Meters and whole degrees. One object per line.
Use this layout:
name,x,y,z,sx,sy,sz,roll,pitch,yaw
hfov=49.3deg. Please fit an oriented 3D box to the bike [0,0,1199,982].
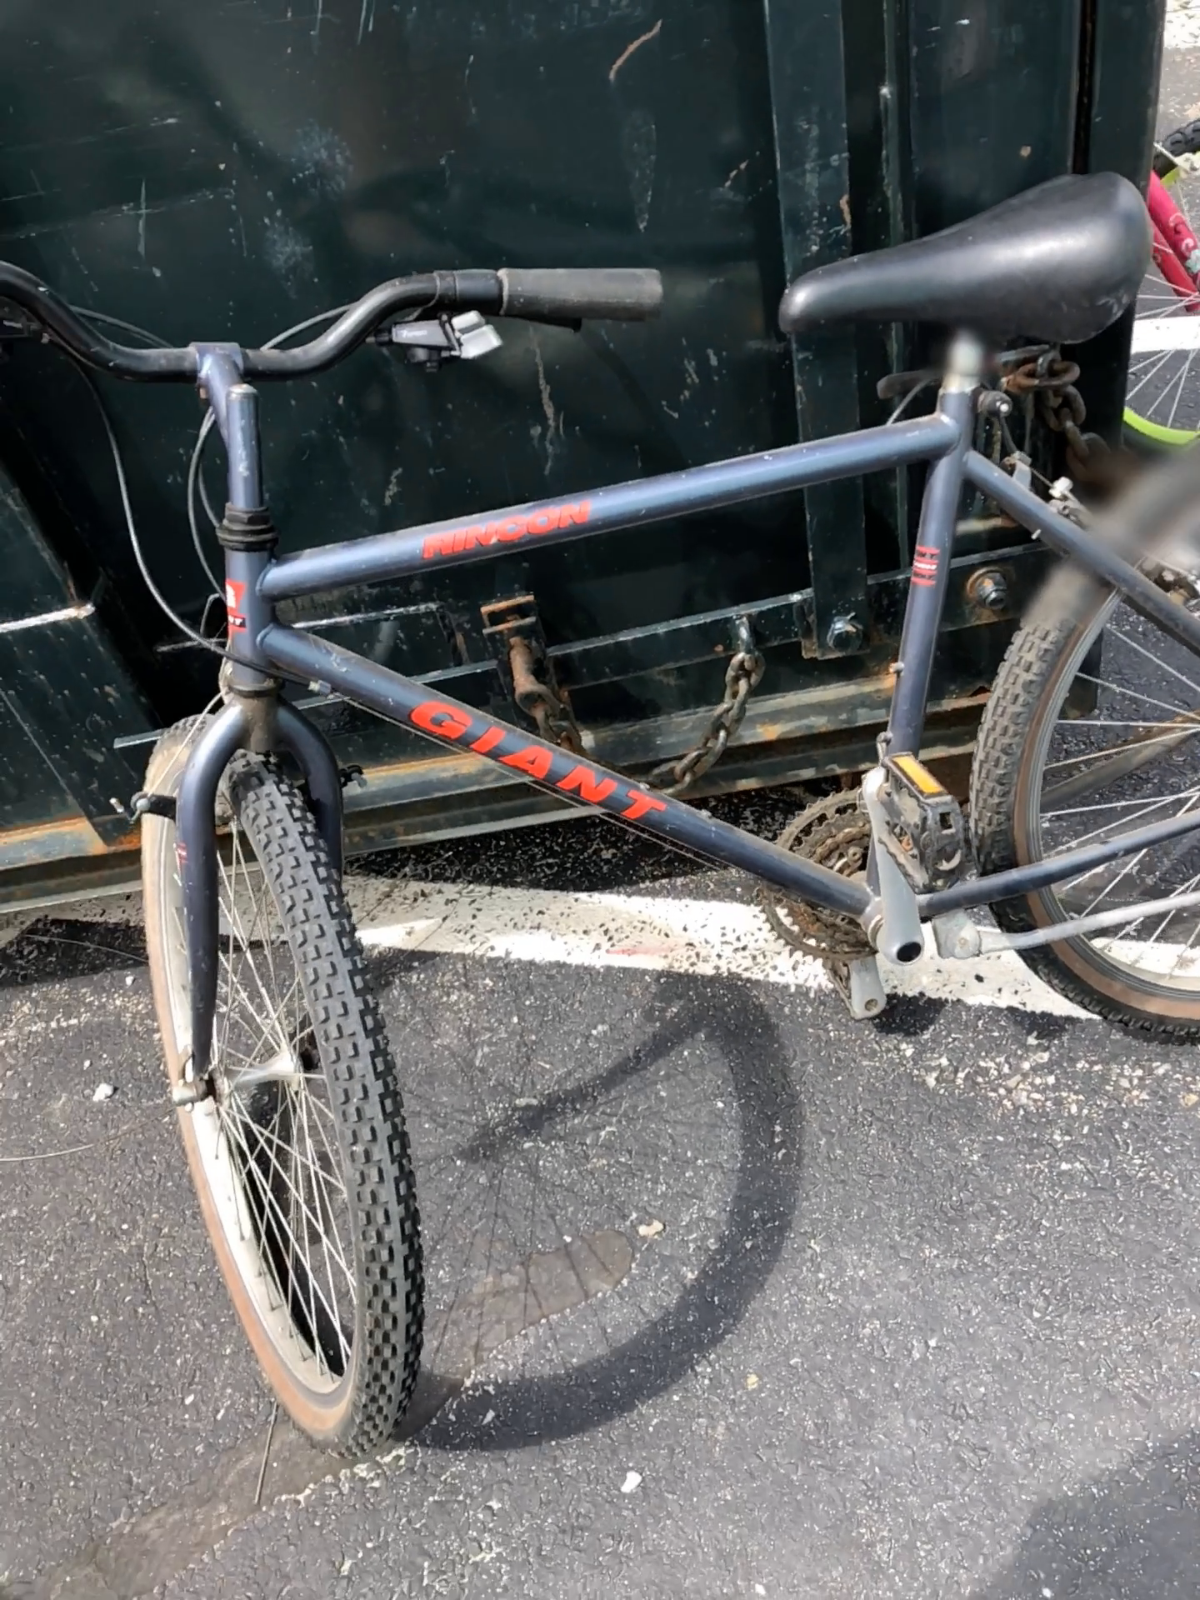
bike,0.007,-0.325,1.234,1.097,0.833,0.638,-6,49,7
